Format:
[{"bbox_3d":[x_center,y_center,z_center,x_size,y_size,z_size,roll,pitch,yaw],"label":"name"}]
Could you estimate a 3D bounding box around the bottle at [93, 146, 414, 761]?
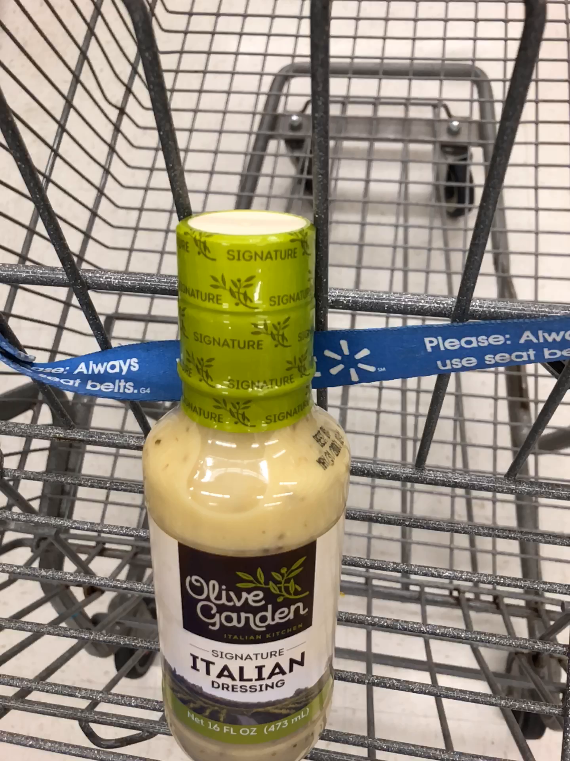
[{"bbox_3d":[-0.013,0.033,0.222,0.080,0.070,0.210,-1,107,-6],"label":"bottle"}]
